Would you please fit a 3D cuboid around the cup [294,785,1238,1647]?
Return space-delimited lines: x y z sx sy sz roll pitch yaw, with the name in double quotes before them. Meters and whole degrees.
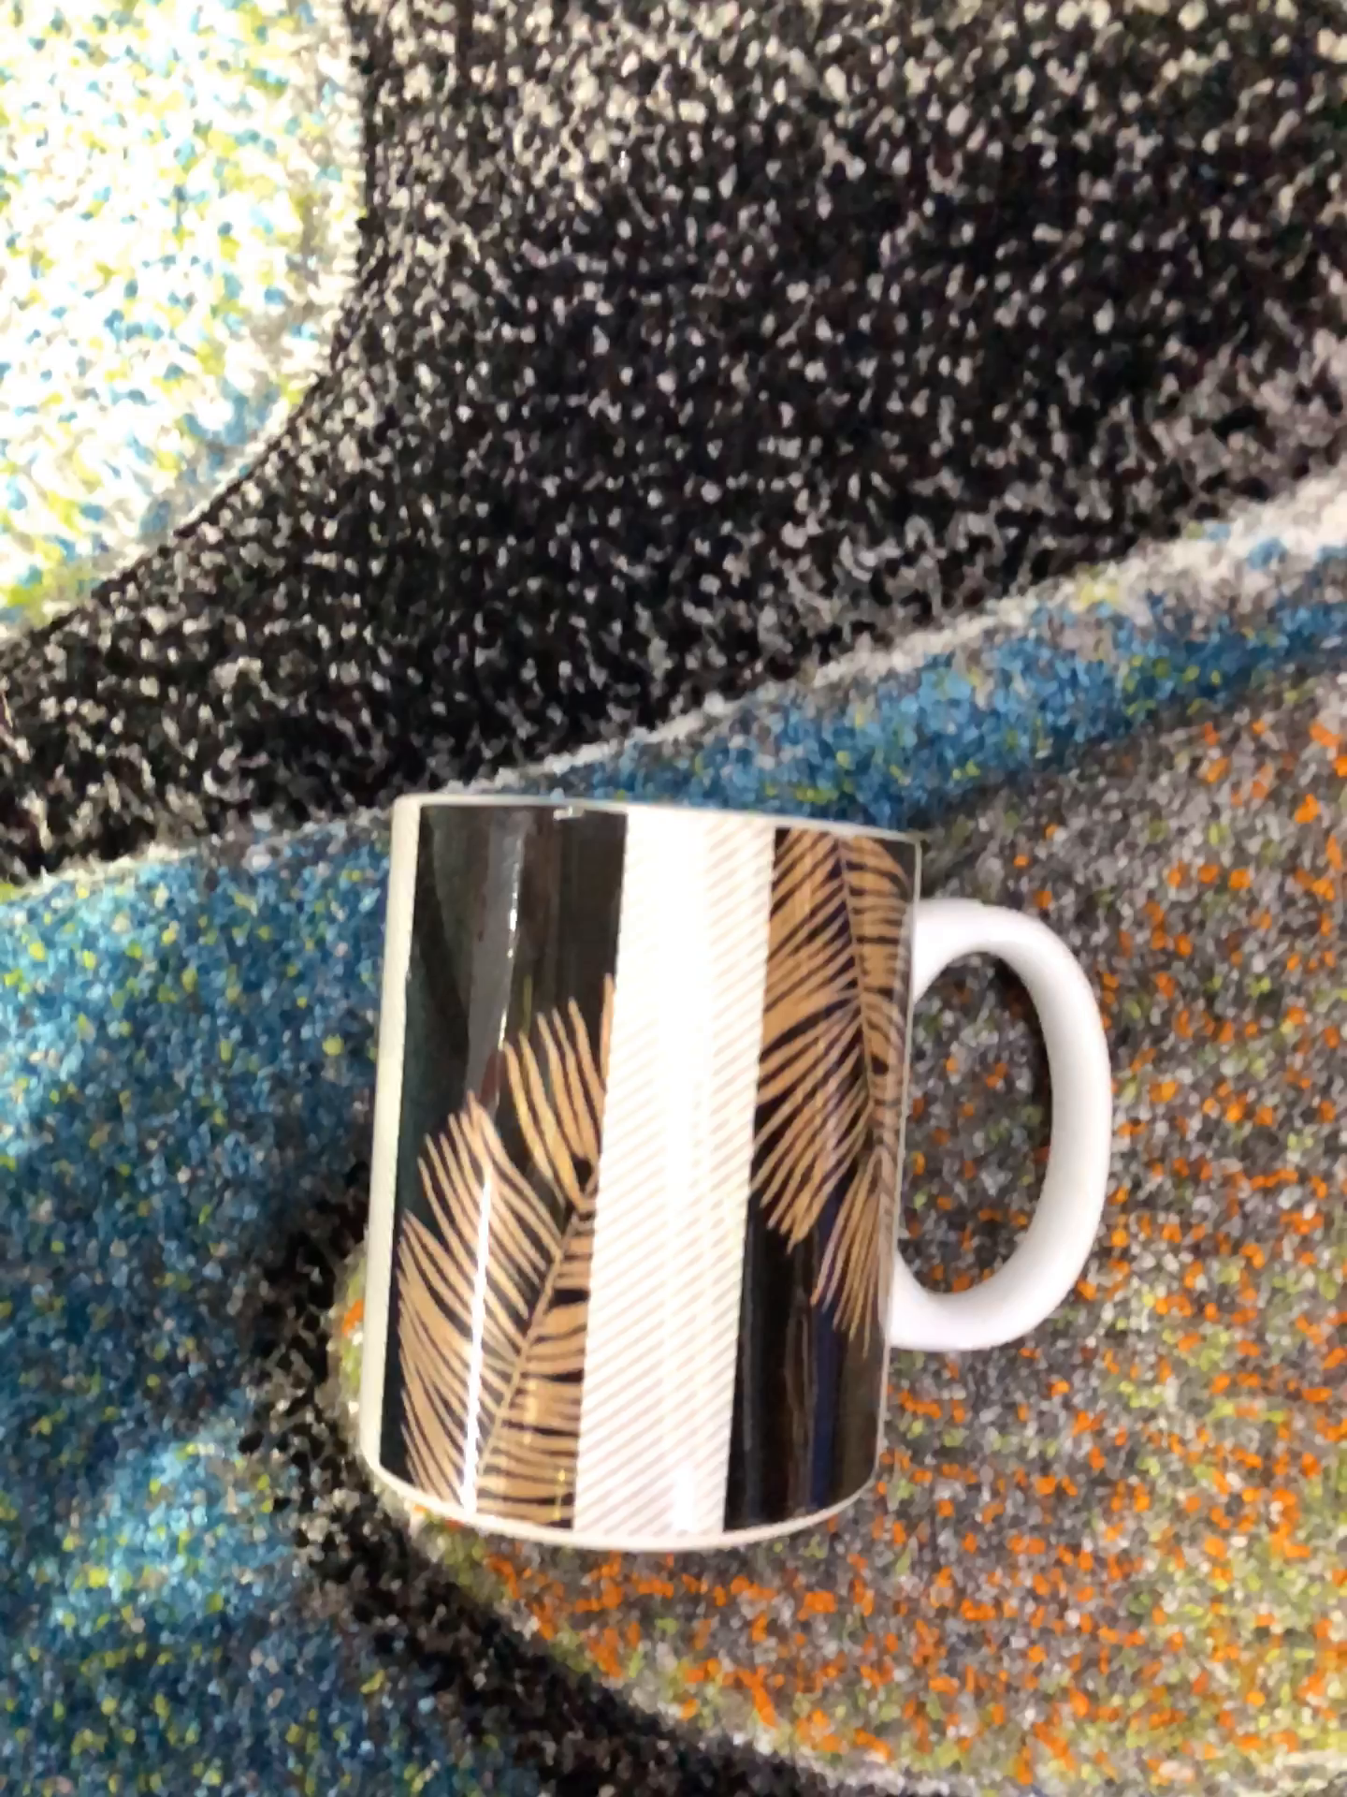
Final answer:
"cup" 0.008 0.038 0.223 0.120 0.070 0.100 2 92 -17
